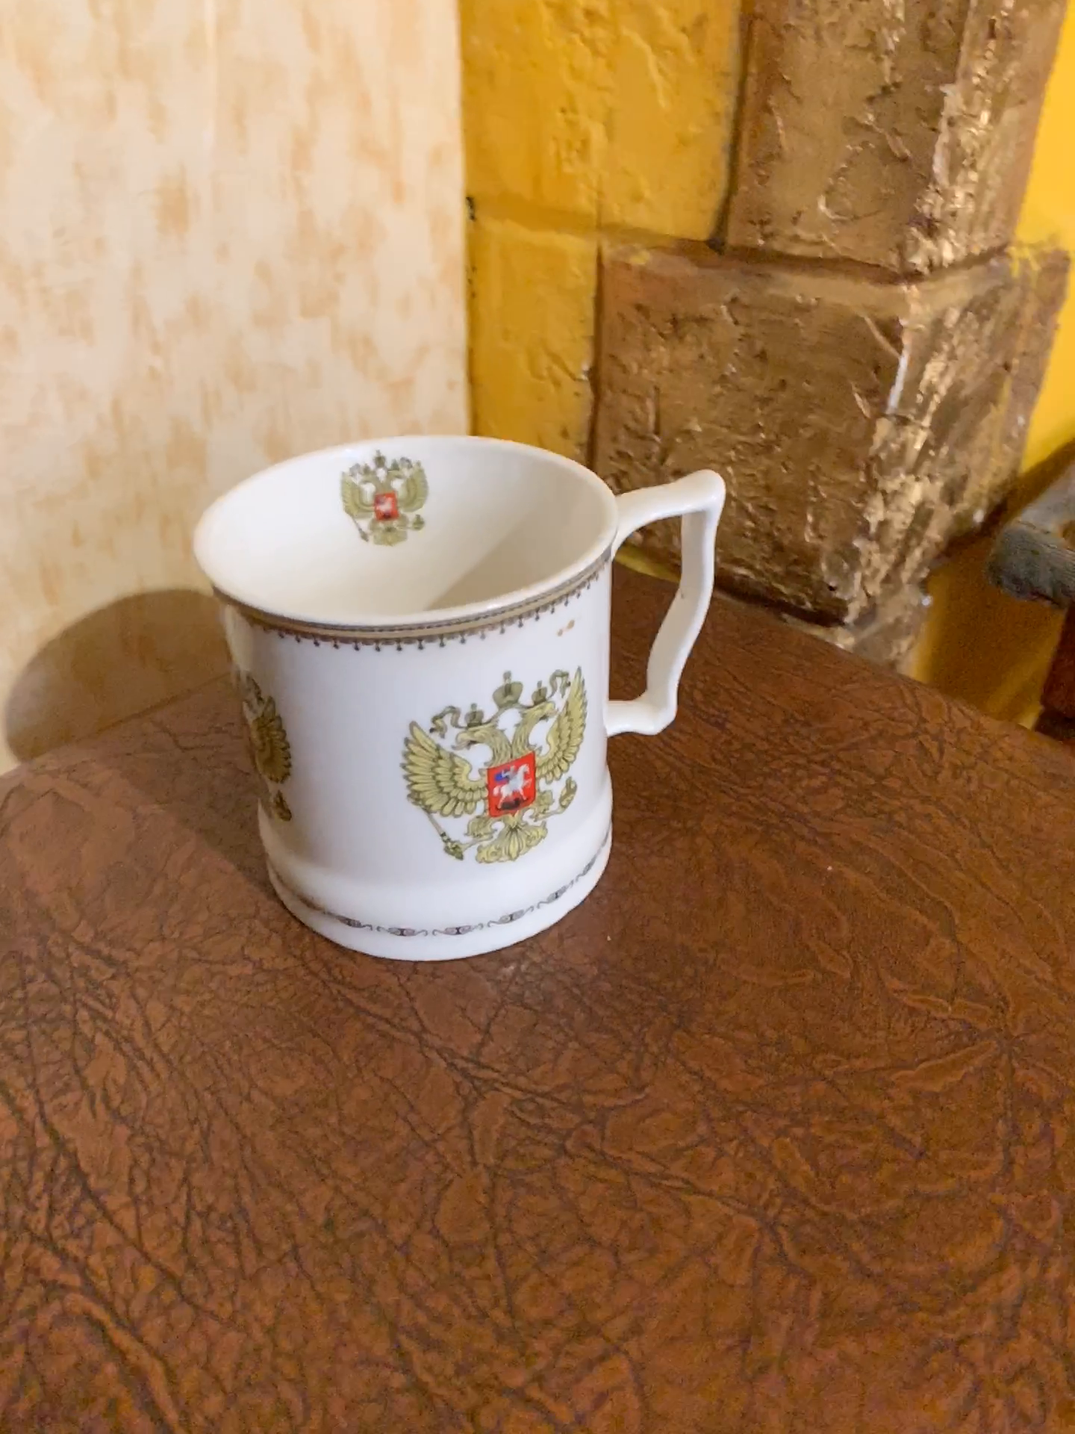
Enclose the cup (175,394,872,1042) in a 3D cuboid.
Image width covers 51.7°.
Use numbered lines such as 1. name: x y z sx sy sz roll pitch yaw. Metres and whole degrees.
1. cup: -0.008 -0.010 0.276 0.127 0.097 0.100 -15 36 -22
